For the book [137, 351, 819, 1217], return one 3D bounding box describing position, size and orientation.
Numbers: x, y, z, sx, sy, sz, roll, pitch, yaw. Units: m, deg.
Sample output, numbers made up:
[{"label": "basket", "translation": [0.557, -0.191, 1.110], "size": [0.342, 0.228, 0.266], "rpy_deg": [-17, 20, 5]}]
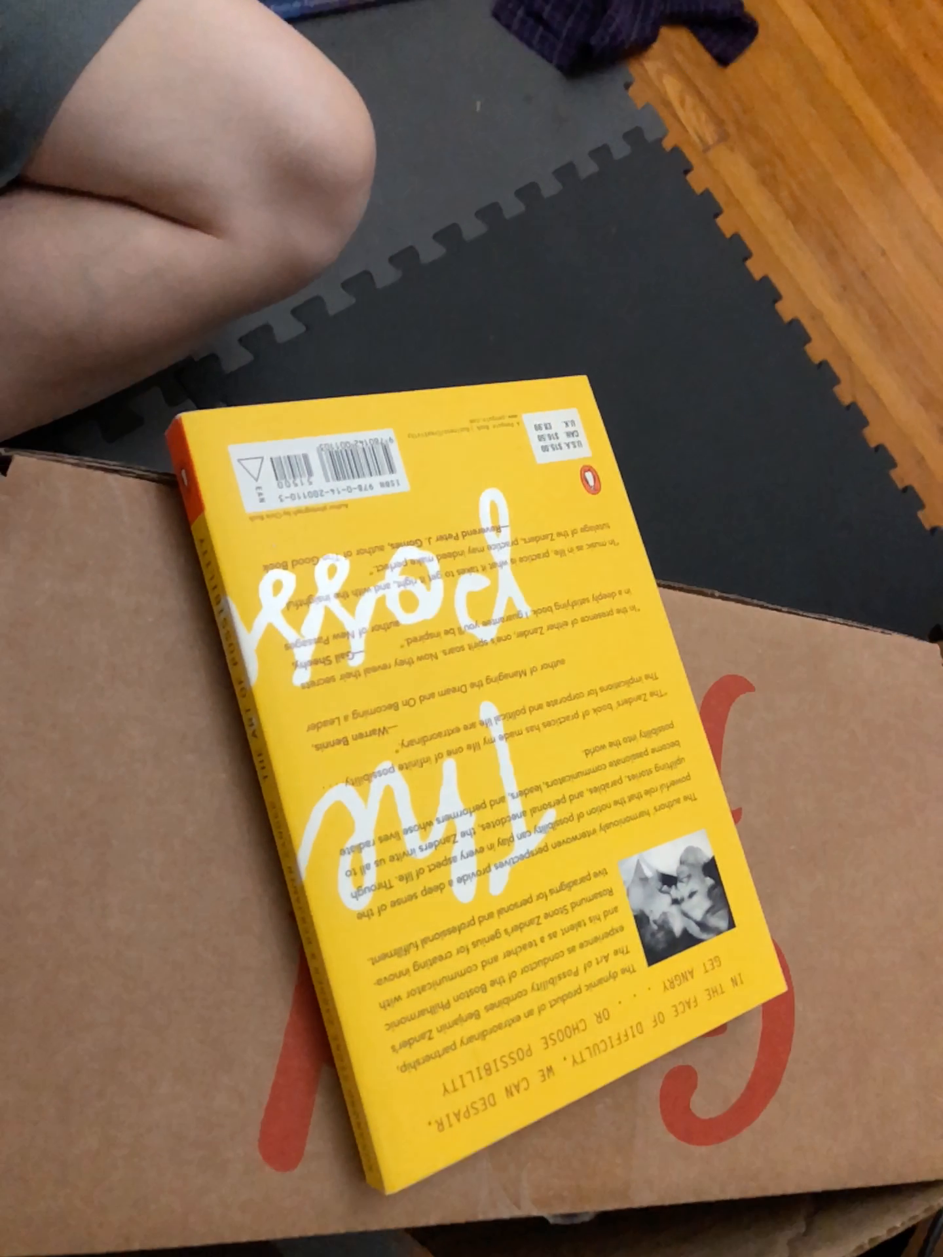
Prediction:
[{"label": "book", "translation": [0.007, 0.026, 0.302], "size": [0.150, 0.020, 0.210], "rpy_deg": [-13, 82, -29]}]
